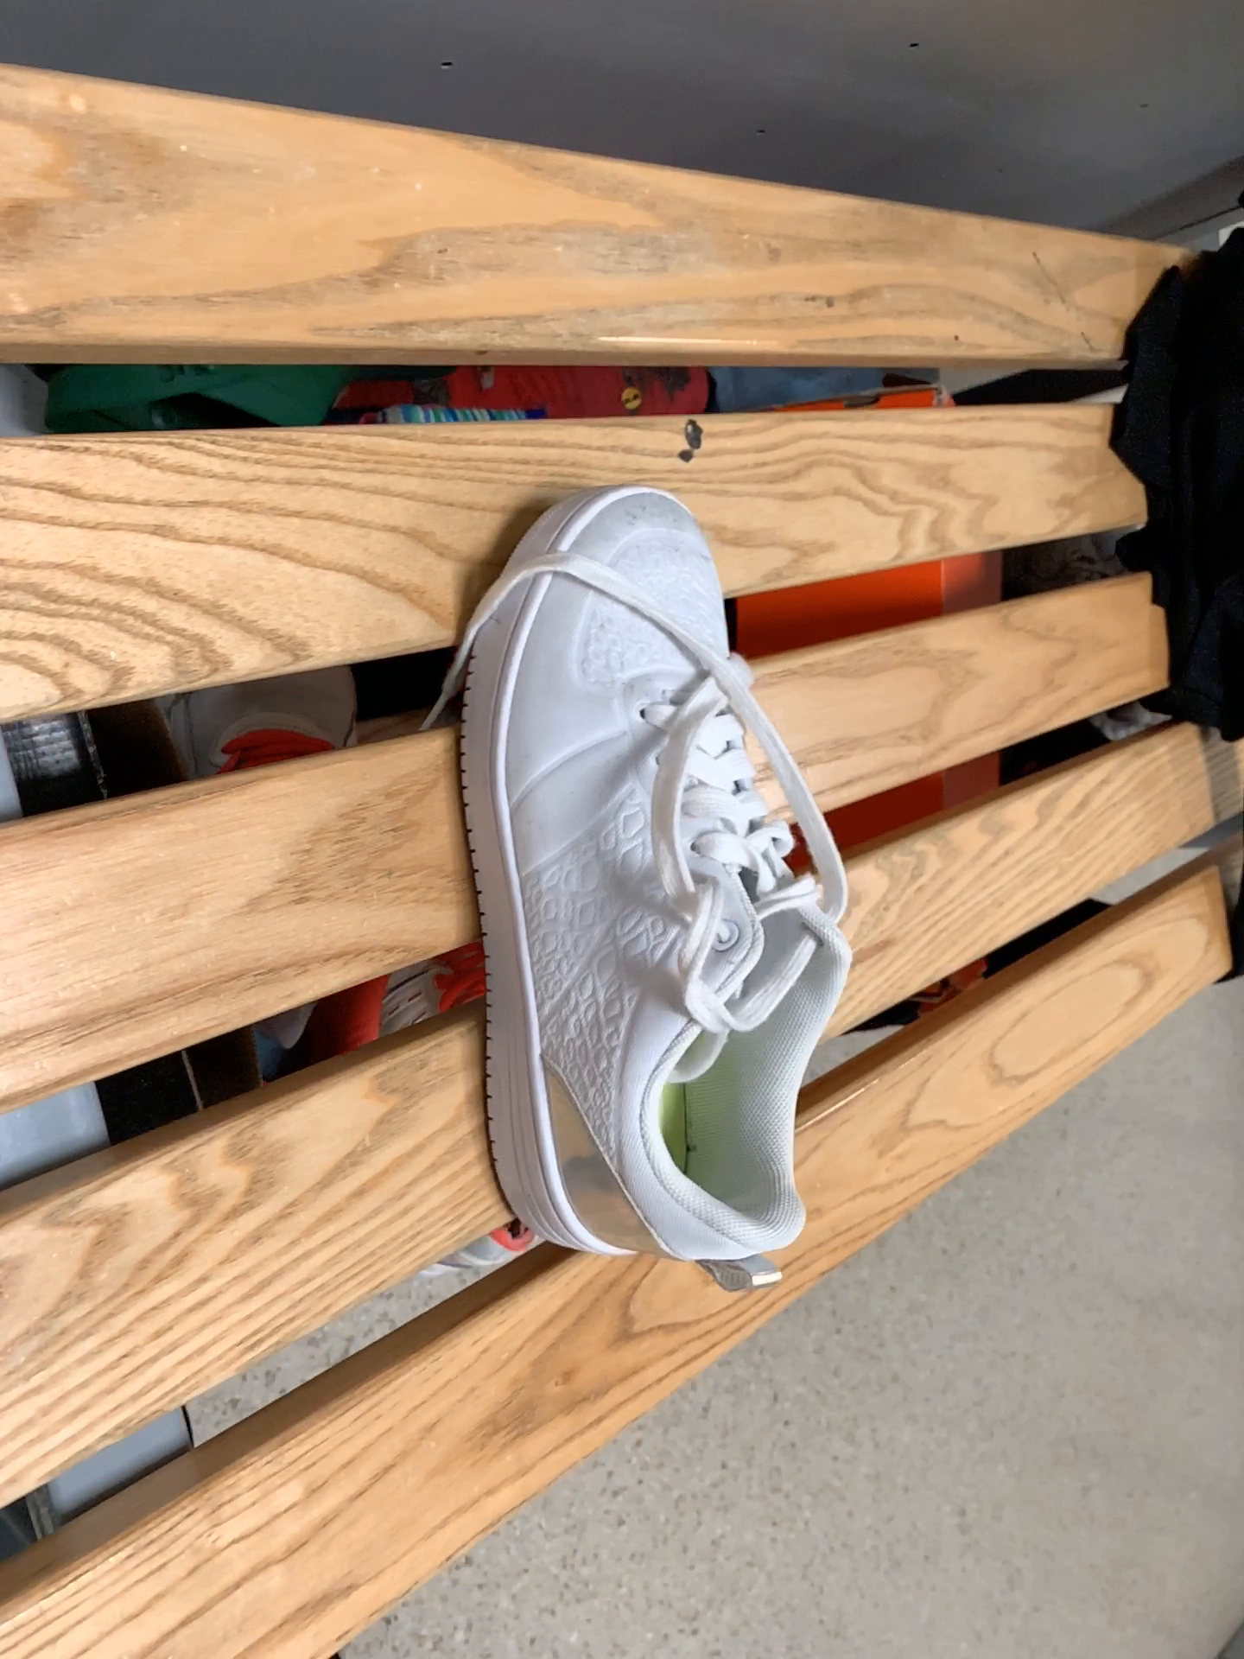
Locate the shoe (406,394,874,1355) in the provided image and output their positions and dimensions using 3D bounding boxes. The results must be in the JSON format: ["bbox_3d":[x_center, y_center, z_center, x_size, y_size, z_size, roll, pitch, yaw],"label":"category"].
[{"bbox_3d":[0.007,0.010,0.393,0.100,0.076,0.250,-6,92,-42],"label":"shoe"}]
